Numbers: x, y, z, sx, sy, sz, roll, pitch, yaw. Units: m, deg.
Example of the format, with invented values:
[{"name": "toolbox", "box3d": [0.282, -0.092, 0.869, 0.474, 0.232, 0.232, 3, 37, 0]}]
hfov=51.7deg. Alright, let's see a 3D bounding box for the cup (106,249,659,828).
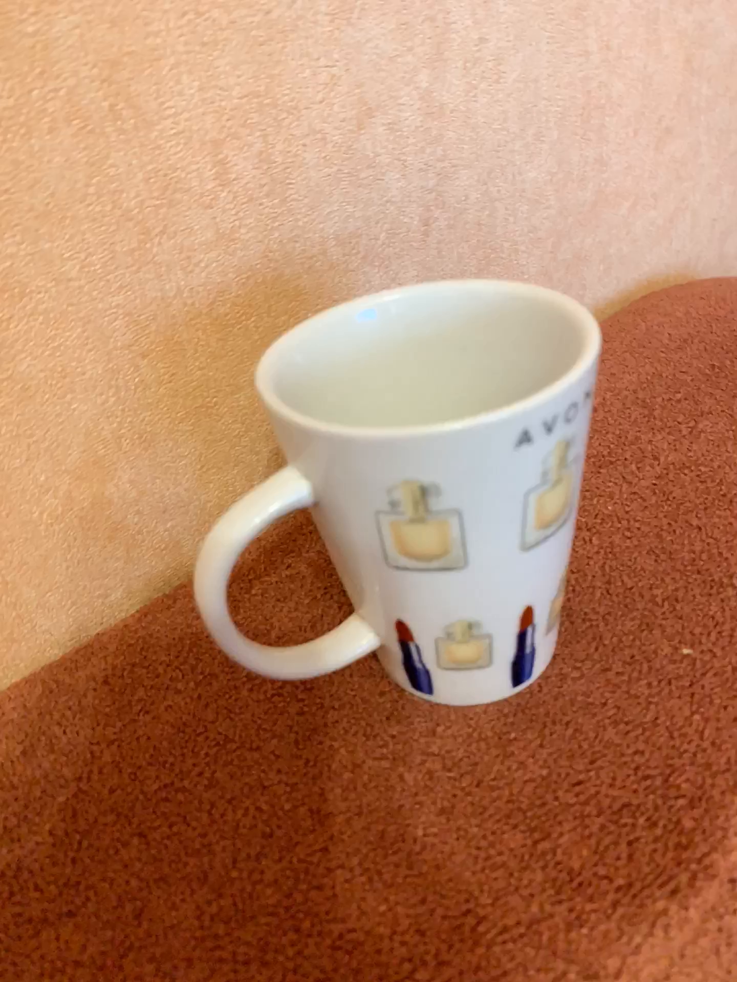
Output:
[{"name": "cup", "box3d": [0.007, 0.006, 0.197, 0.103, 0.093, 0.071, -26, 39, -21]}]
